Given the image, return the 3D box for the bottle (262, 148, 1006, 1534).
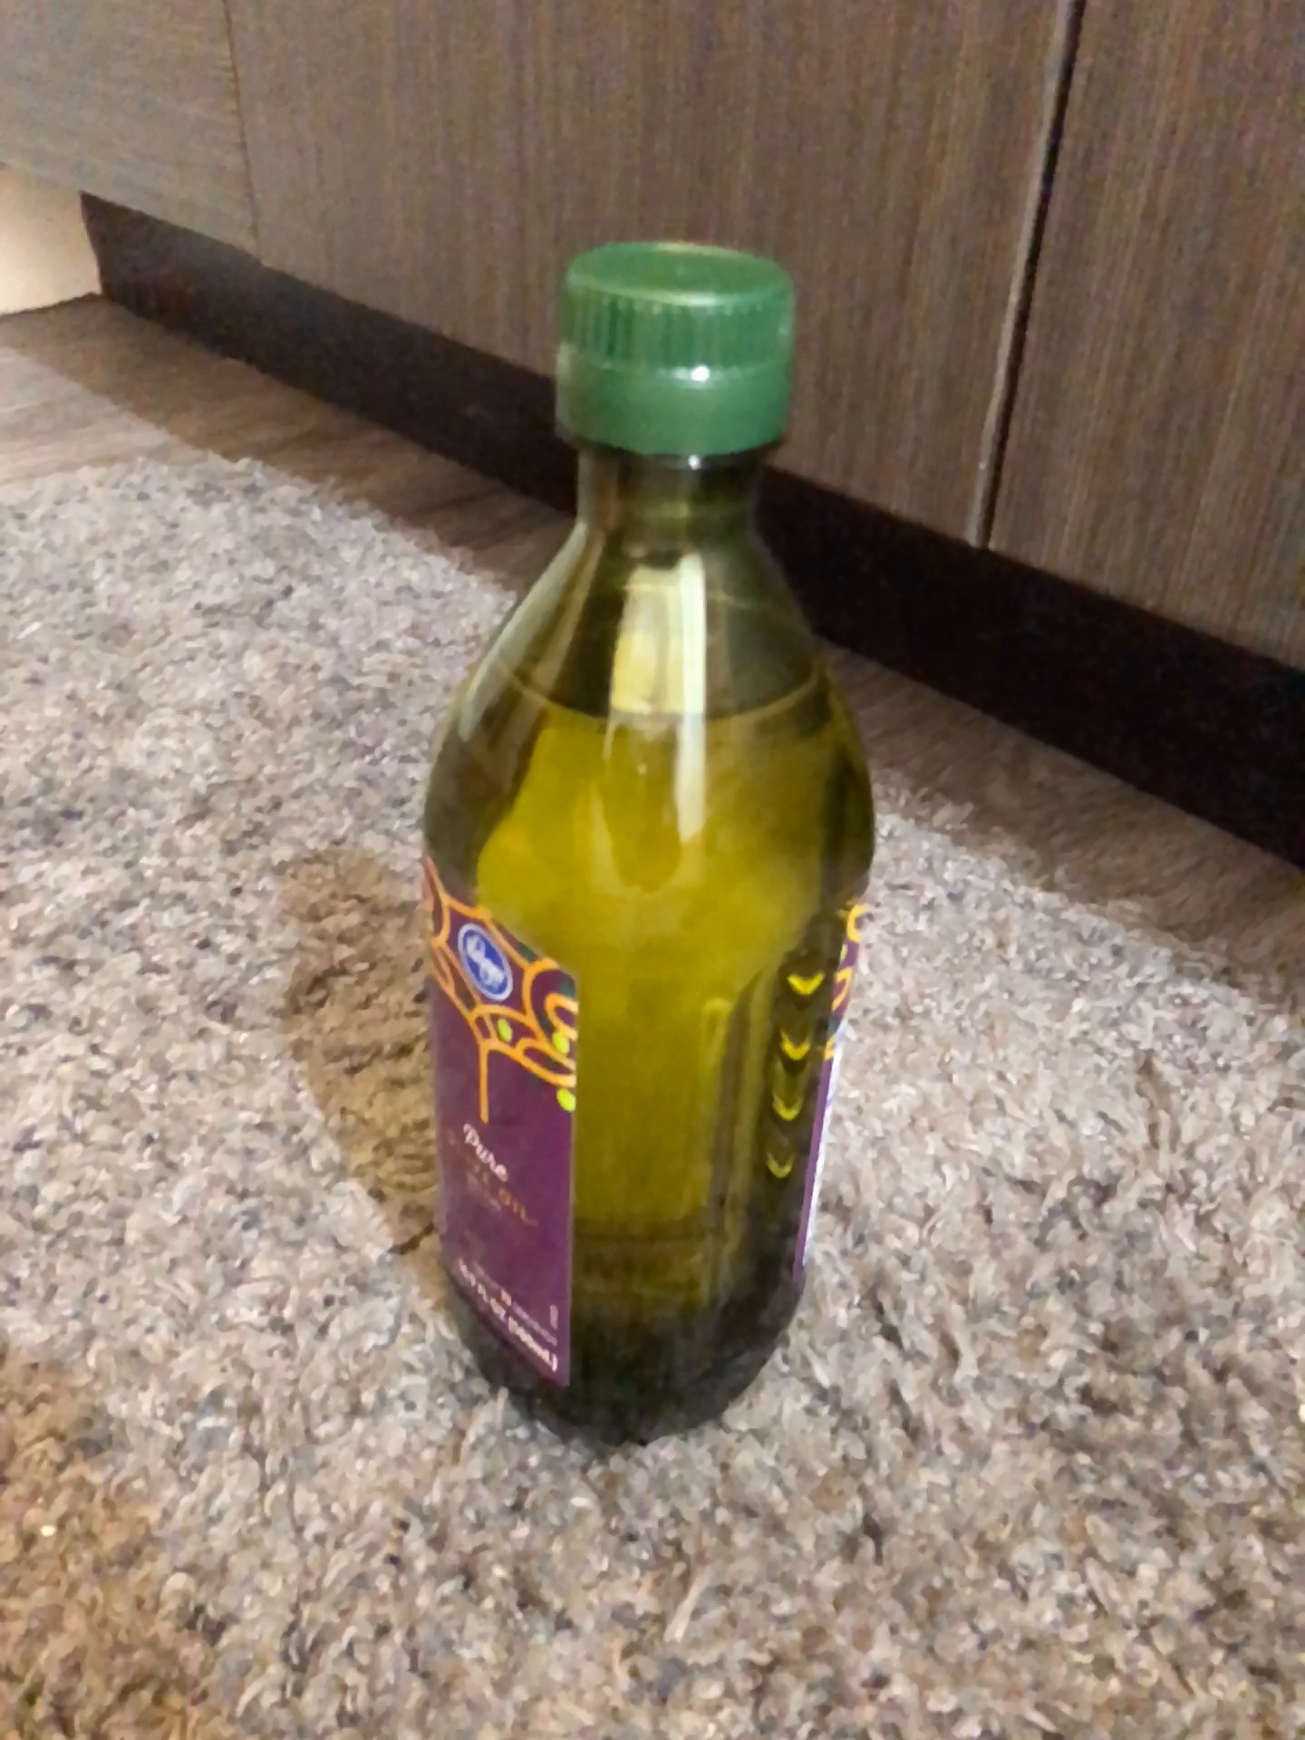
[{"bbox_3d":[-0.007,0.007,0.235,0.060,0.209,0.070,-21,42,-28],"label":"bottle"}]
